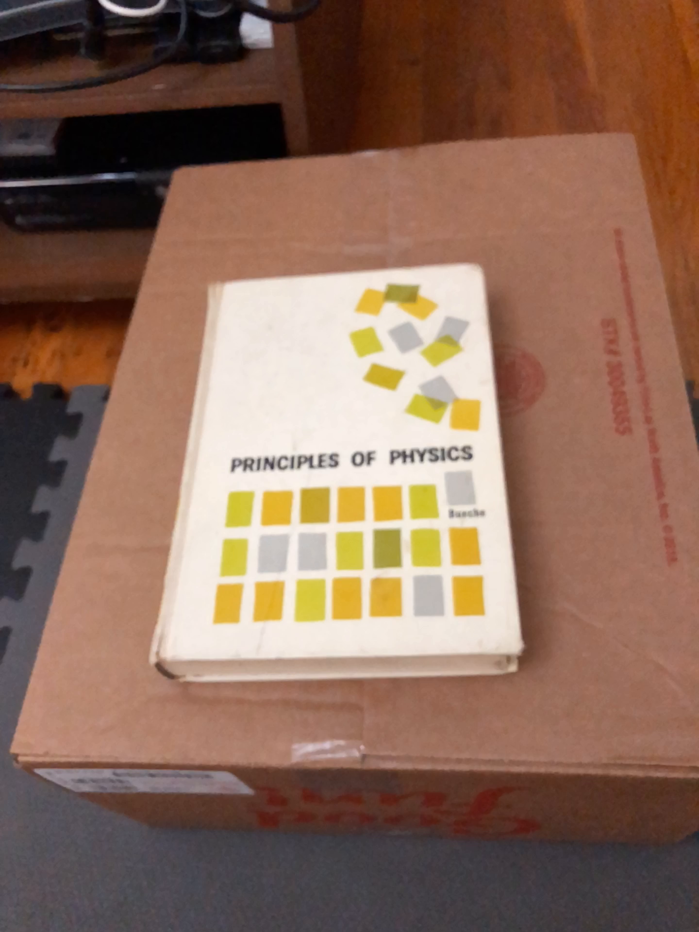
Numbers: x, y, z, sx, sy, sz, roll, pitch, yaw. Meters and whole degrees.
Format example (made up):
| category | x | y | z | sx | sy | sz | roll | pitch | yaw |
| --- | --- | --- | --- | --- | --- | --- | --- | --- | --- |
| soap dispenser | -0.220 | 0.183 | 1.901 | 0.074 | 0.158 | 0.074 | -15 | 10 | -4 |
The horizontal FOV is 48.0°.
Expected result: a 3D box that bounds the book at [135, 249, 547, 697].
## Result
| category | x | y | z | sx | sy | sz | roll | pitch | yaw |
| --- | --- | --- | --- | --- | --- | --- | --- | --- | --- |
| book | 0.000 | -0.007 | 0.423 | 0.180 | 0.040 | 0.251 | -3 | 57 | 8 |
